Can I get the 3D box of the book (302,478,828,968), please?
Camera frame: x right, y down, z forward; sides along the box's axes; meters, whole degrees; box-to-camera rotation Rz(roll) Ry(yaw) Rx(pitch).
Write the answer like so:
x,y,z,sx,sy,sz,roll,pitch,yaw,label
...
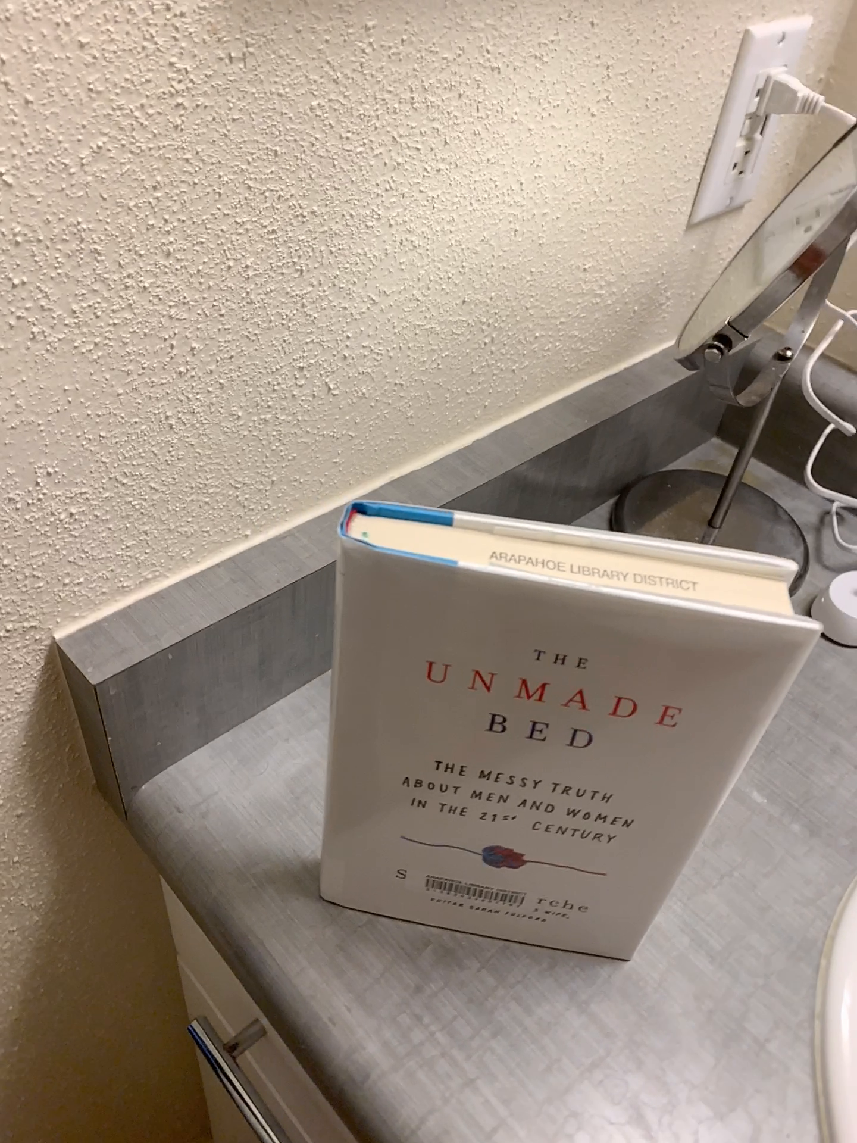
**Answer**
x,y,z,sx,sy,sz,roll,pitch,yaw,label
0.031,0.073,0.337,0.152,0.214,0.033,10,41,2,book
